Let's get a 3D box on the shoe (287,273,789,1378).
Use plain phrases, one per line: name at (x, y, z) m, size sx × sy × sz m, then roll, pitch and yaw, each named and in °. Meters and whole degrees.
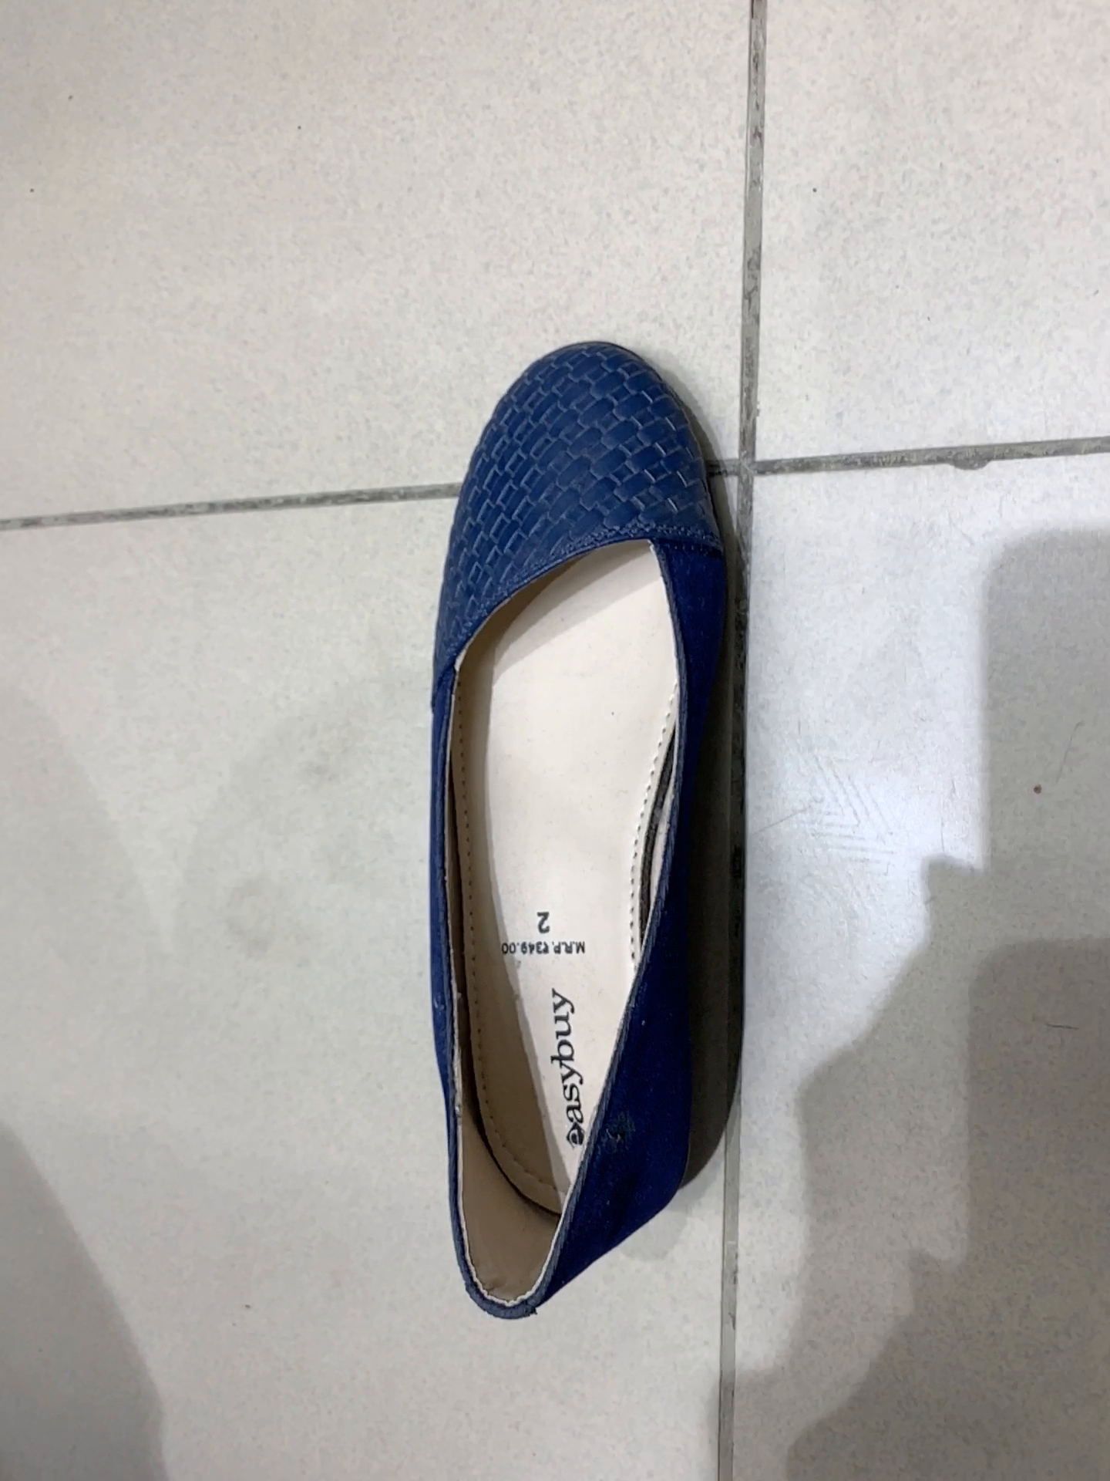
shoe at (-0.003, 0.019, 0.276) m, size 0.090 × 0.060 × 0.220 m, roll -4°, pitch 89°, yaw 26°
